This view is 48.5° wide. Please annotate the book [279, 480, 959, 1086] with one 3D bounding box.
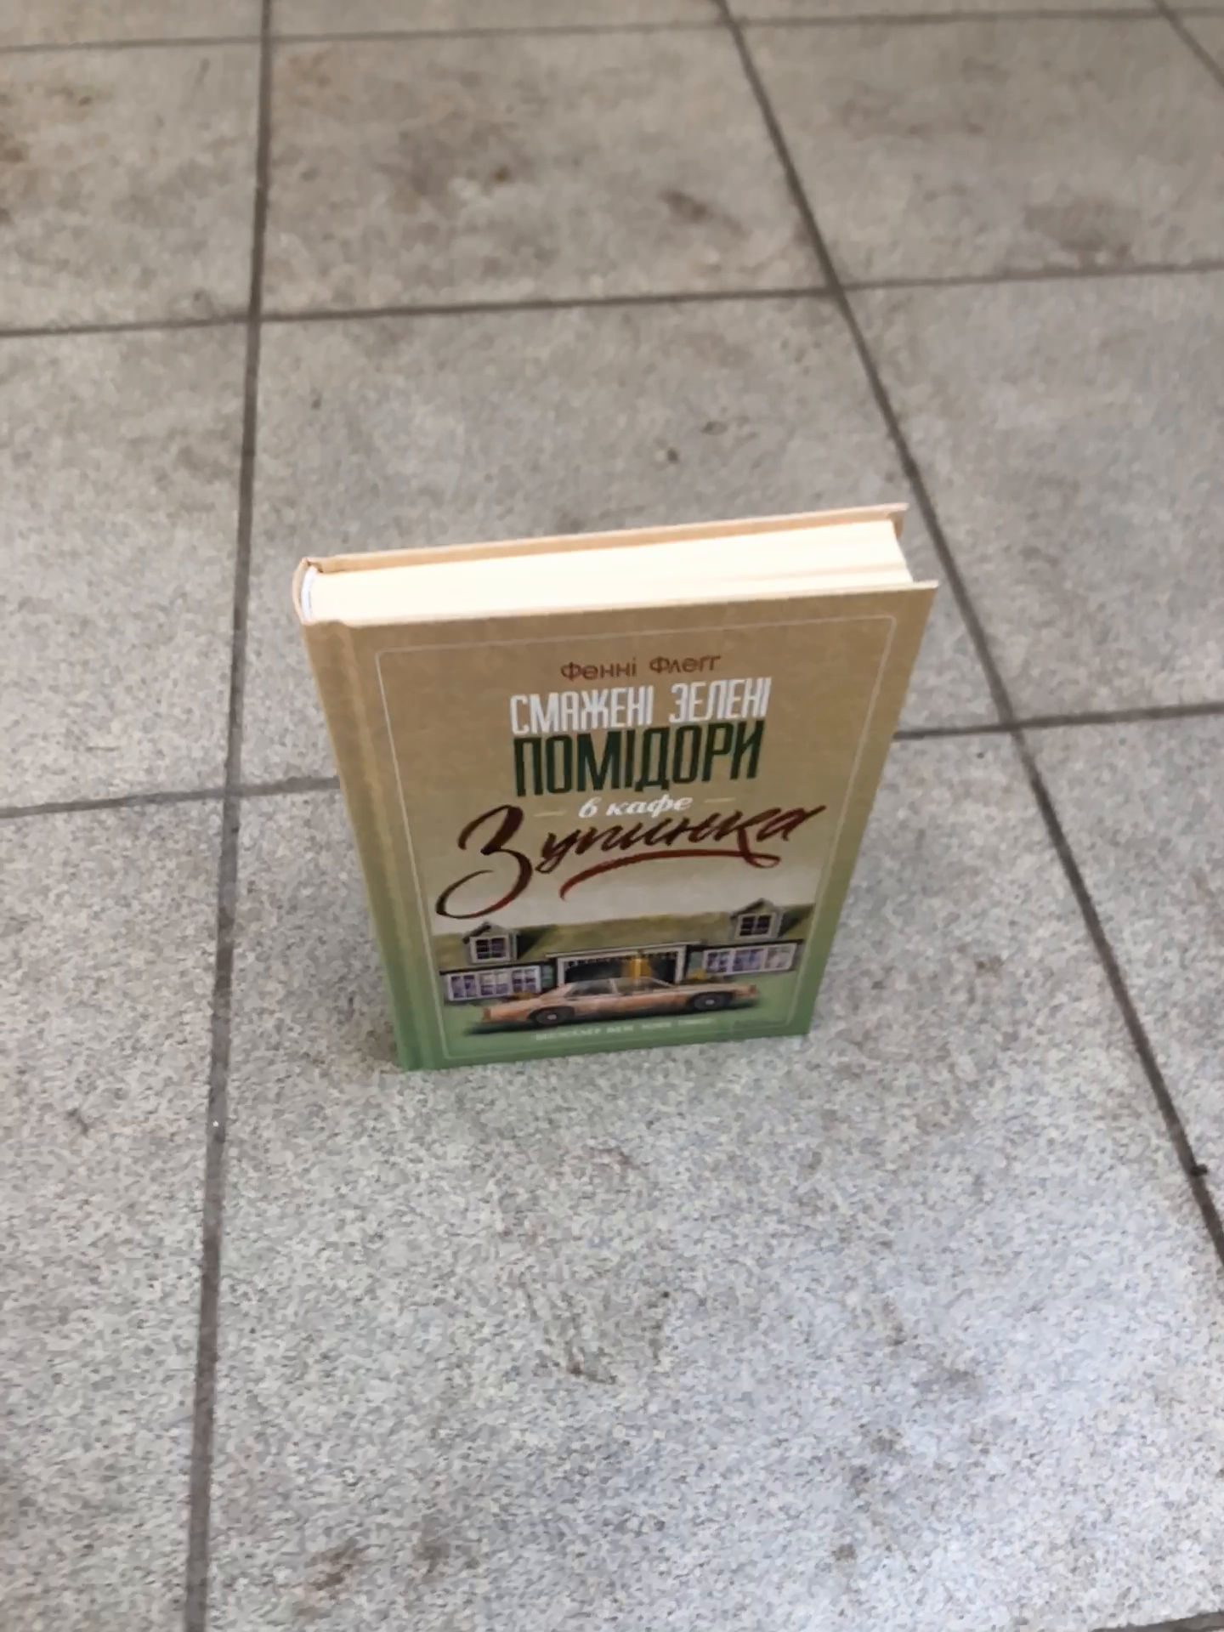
[{"bbox_3d":[-0.001,0.006,0.369,0.140,0.209,0.030,-5,53,-5],"label":"book"}]
